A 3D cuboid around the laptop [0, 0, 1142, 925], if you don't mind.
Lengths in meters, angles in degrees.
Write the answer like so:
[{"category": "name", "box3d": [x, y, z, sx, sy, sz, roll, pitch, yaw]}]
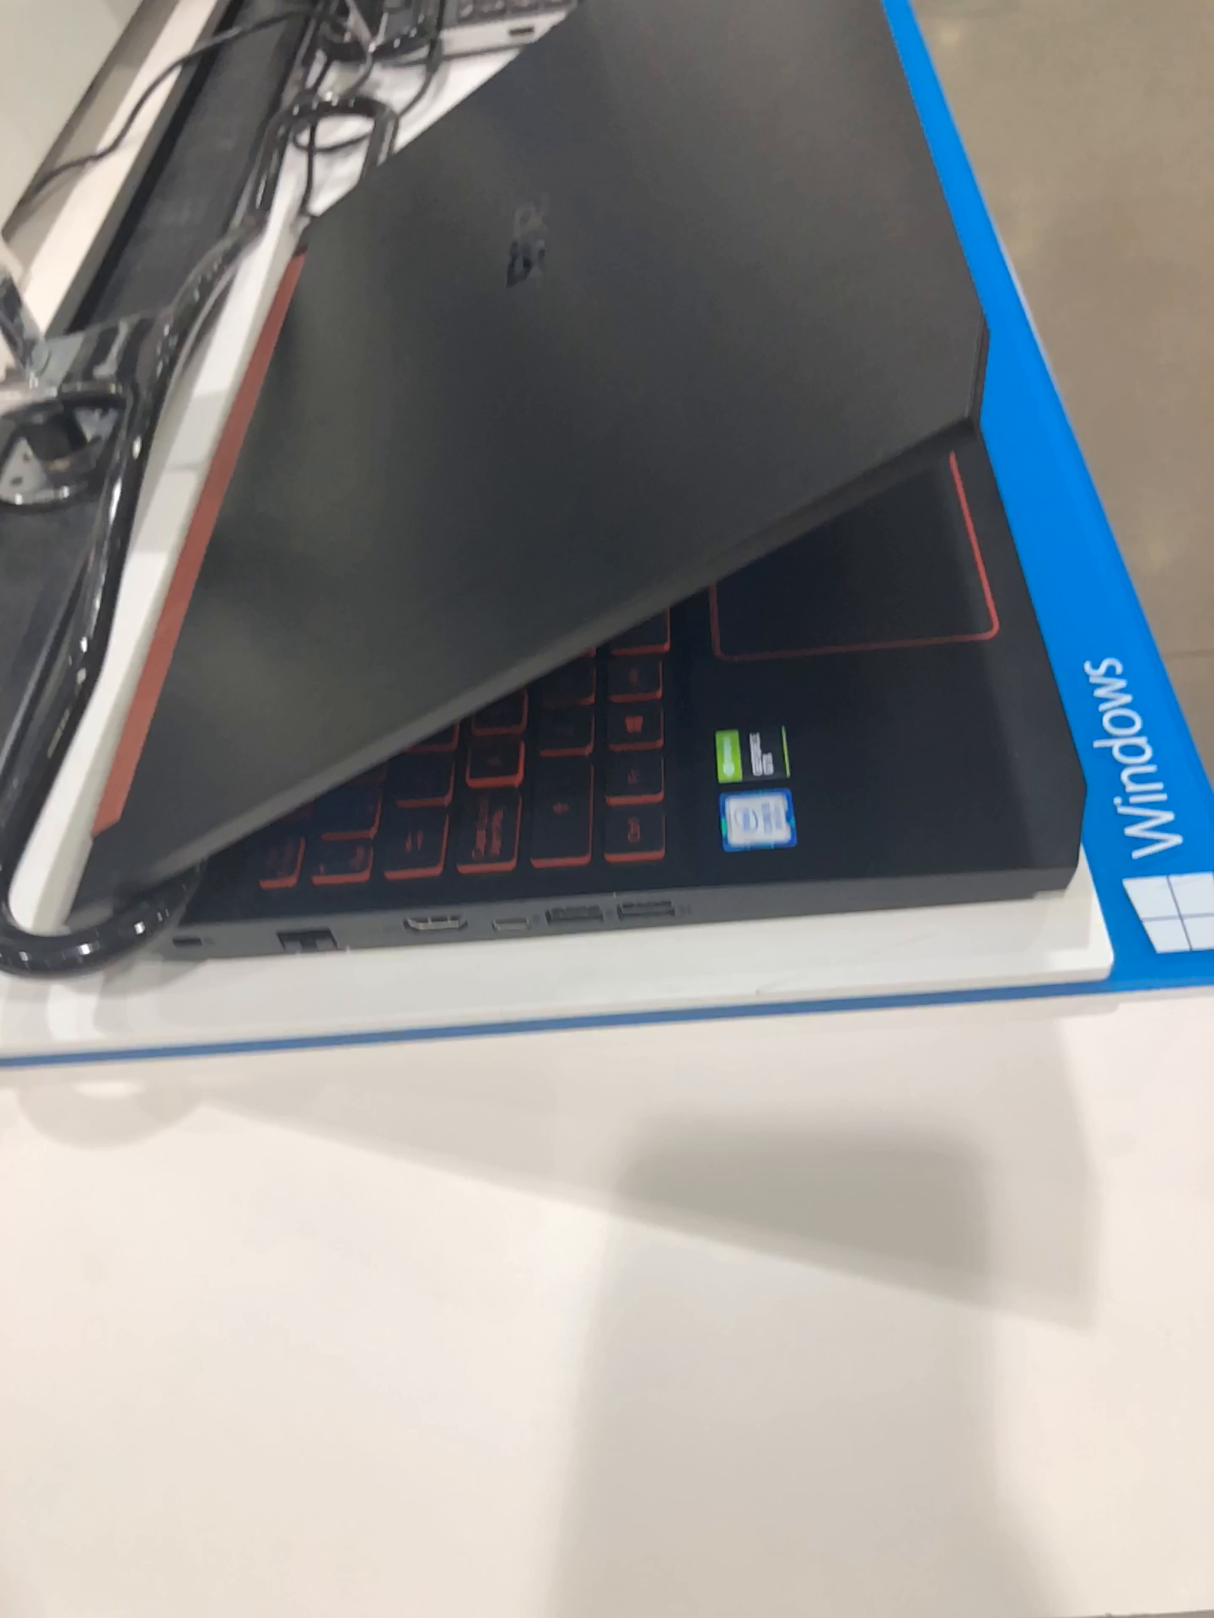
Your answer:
[{"category": "laptop", "box3d": [-0.015, -0.146, 0.396, 0.218, 0.121, 0.346, -5, 48, 4]}]
